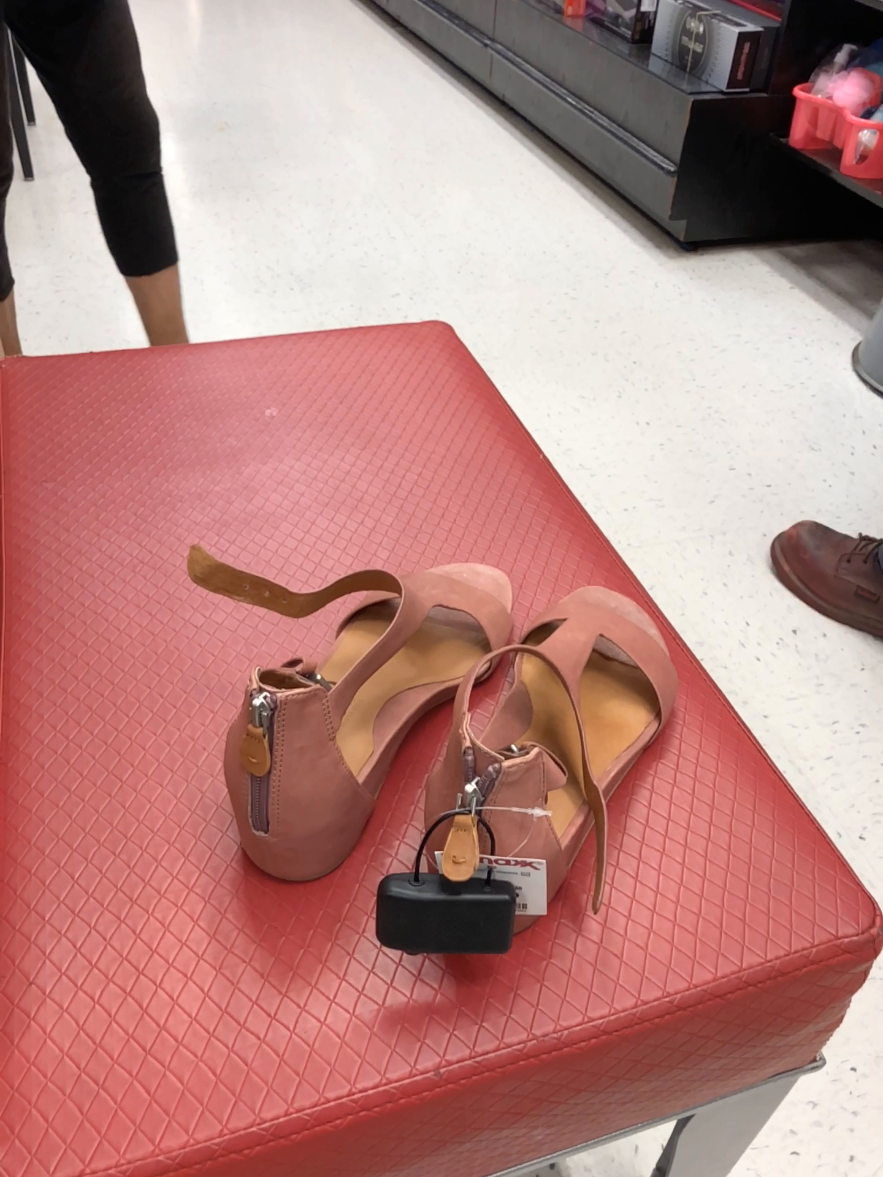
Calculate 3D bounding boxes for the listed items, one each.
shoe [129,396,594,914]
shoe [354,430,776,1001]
[{"bbox_3d":[-0.026,0.016,0.515,0.106,0.116,0.261,22,42,19],"label":"shoe"},{"bbox_3d":[0.071,0.044,0.496,0.103,0.126,0.264,22,42,19],"label":"shoe"}]
